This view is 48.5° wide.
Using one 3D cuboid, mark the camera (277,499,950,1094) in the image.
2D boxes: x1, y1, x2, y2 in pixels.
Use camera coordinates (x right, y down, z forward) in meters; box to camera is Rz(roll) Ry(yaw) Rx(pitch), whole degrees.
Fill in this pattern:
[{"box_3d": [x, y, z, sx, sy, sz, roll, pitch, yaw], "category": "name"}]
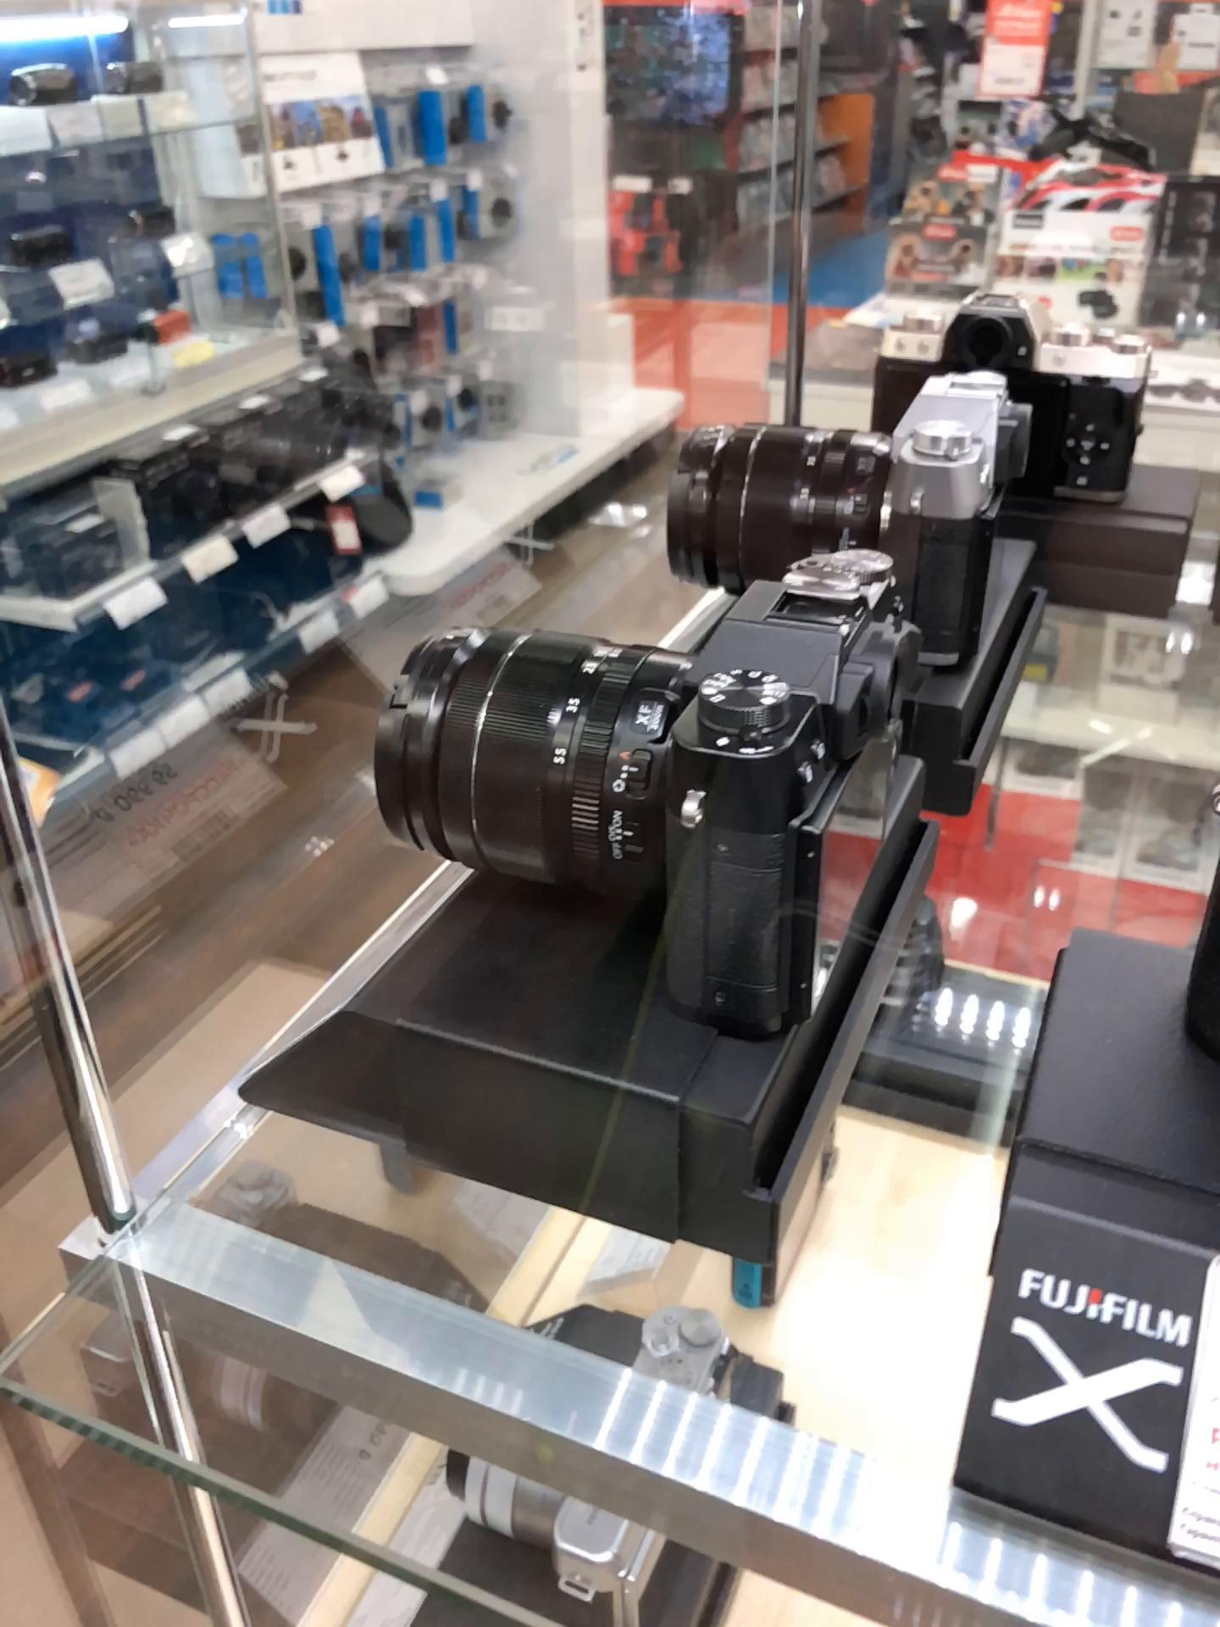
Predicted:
[{"box_3d": [0.008, -0.015, 0.338, 0.121, 0.081, 0.121, 11, 32, 20], "category": "camera"}]
